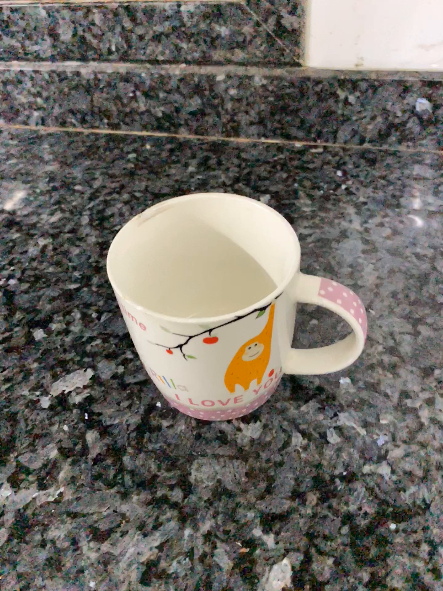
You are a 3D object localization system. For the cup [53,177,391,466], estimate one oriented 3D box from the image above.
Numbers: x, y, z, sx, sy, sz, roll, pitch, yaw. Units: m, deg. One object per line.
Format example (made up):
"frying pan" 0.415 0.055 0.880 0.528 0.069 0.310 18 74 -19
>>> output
"cup" 0.008 0.010 0.219 0.120 0.089 0.081 9 49 14
